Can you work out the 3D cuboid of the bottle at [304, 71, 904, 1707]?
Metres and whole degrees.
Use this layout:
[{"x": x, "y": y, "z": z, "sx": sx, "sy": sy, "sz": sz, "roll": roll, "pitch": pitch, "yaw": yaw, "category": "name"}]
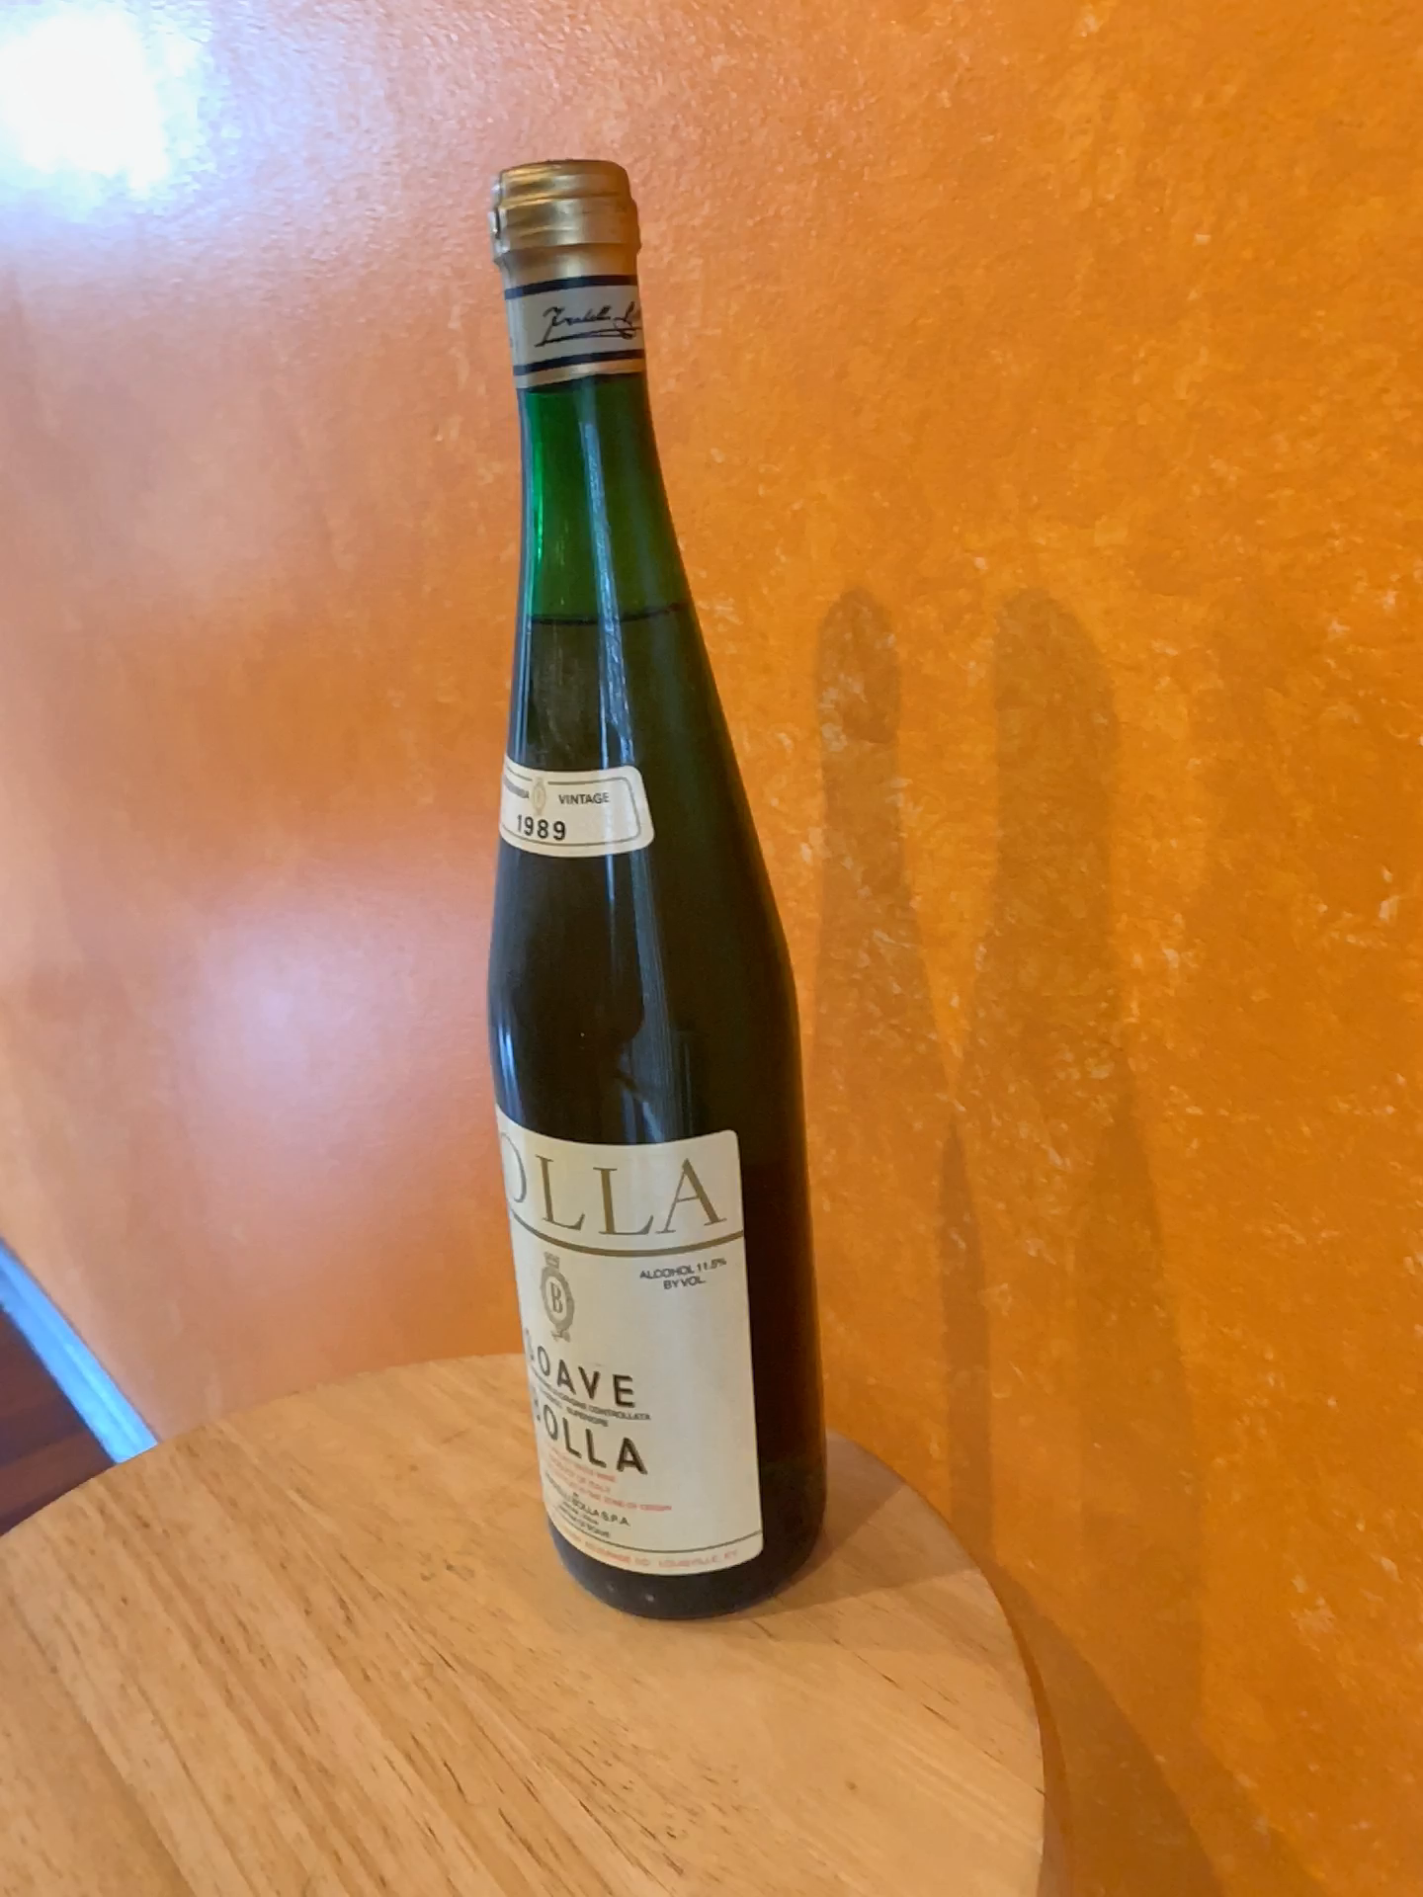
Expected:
[{"x": -0.015, "y": 0.001, "z": 0.342, "sx": 0.080, "sy": 0.339, "sz": 0.070, "roll": 12, "pitch": 25, "yaw": 41, "category": "bottle"}]
